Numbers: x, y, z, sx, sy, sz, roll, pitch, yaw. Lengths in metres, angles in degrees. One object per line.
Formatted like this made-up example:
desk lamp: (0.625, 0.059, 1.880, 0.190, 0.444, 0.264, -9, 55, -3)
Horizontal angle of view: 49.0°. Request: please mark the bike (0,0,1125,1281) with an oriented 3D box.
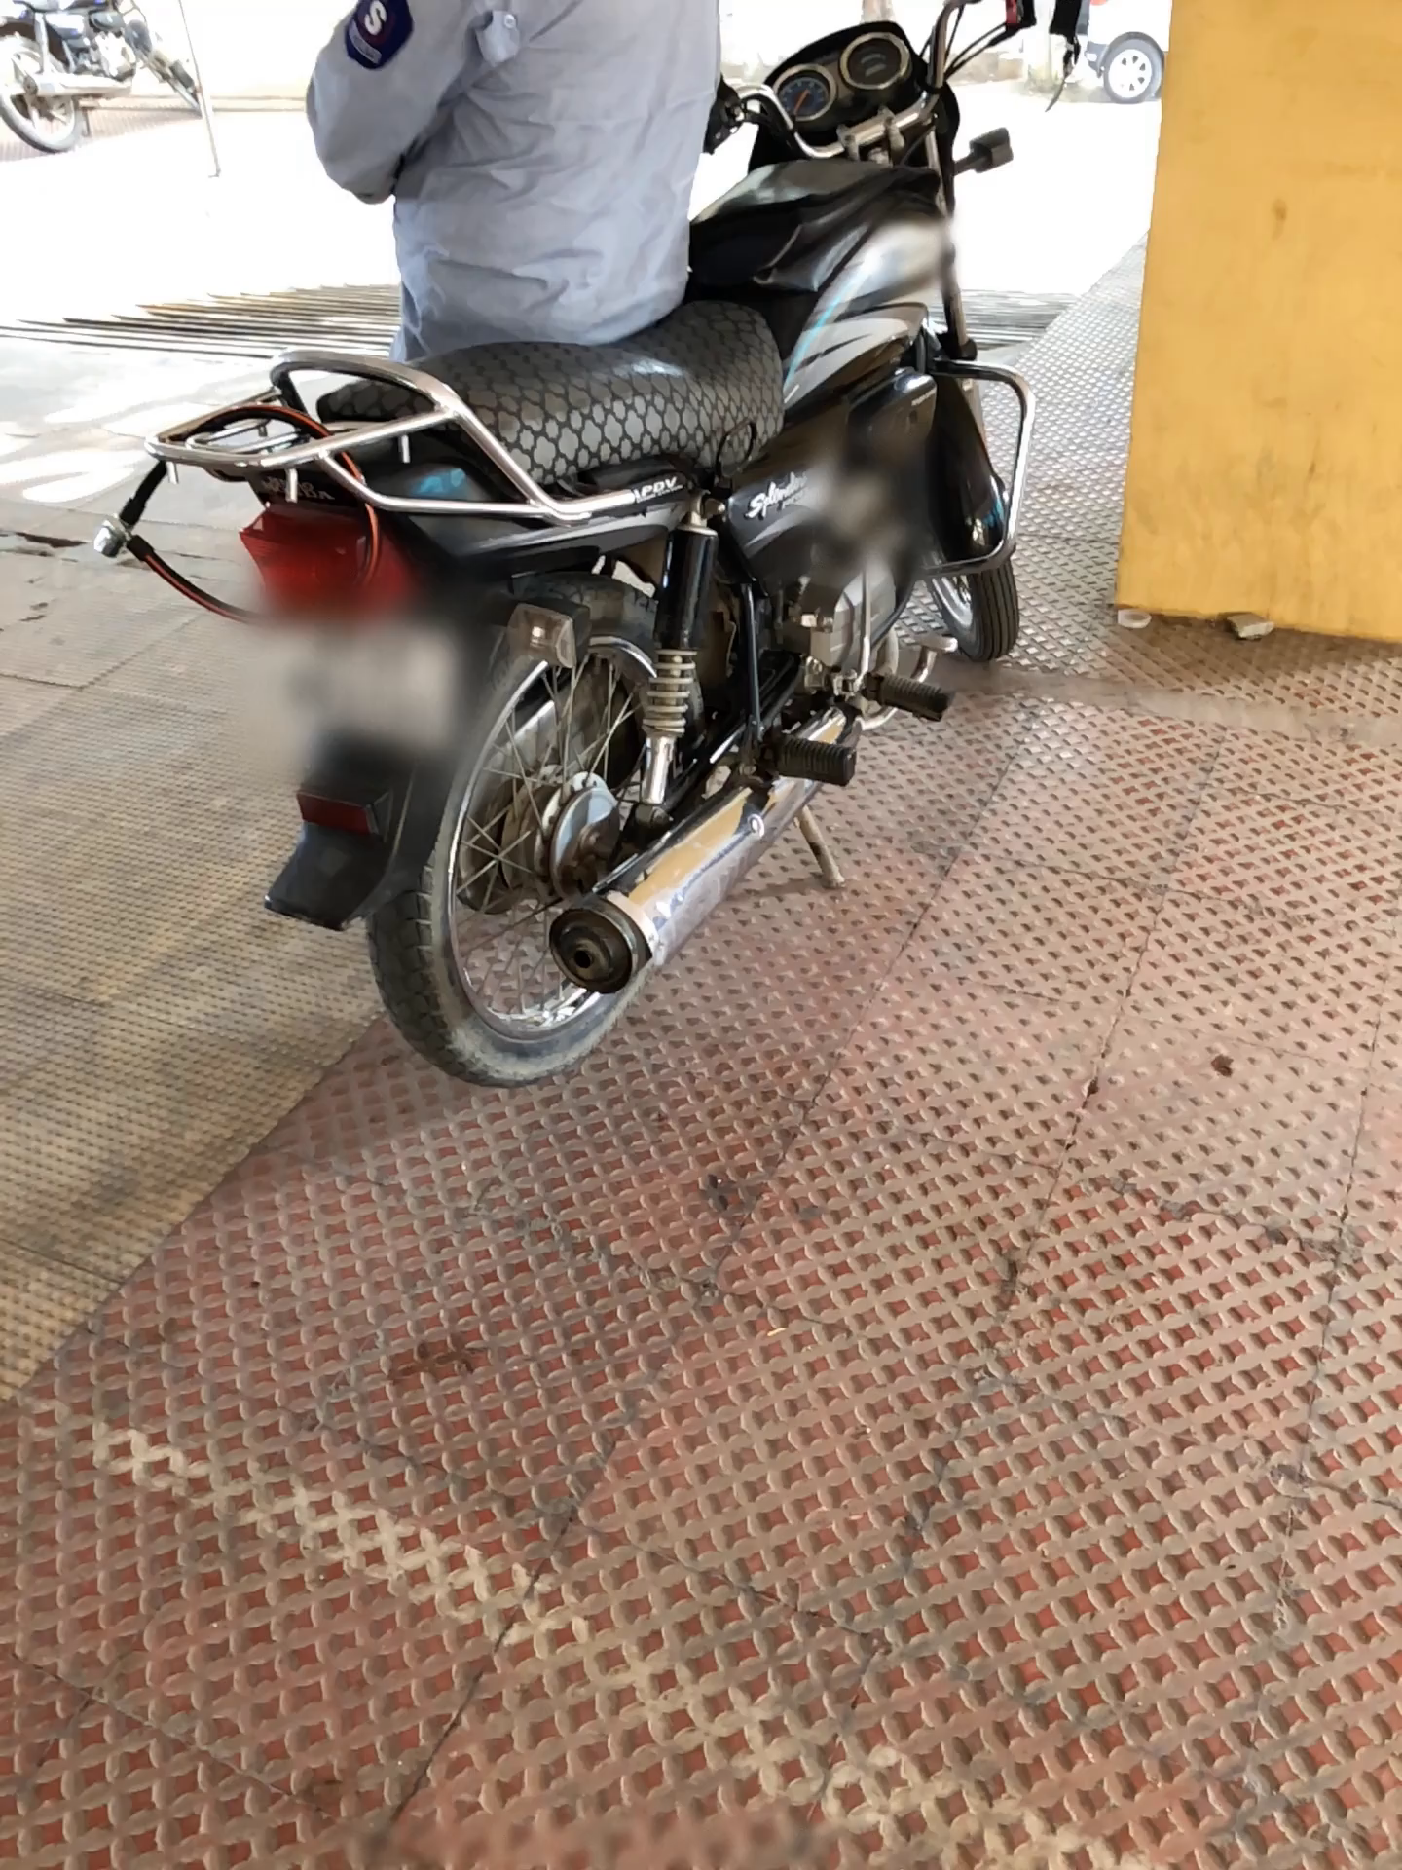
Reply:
bike: (0.001, -0.647, 2.001, 0.677, 1.036, 1.687, 12, 40, 22)
